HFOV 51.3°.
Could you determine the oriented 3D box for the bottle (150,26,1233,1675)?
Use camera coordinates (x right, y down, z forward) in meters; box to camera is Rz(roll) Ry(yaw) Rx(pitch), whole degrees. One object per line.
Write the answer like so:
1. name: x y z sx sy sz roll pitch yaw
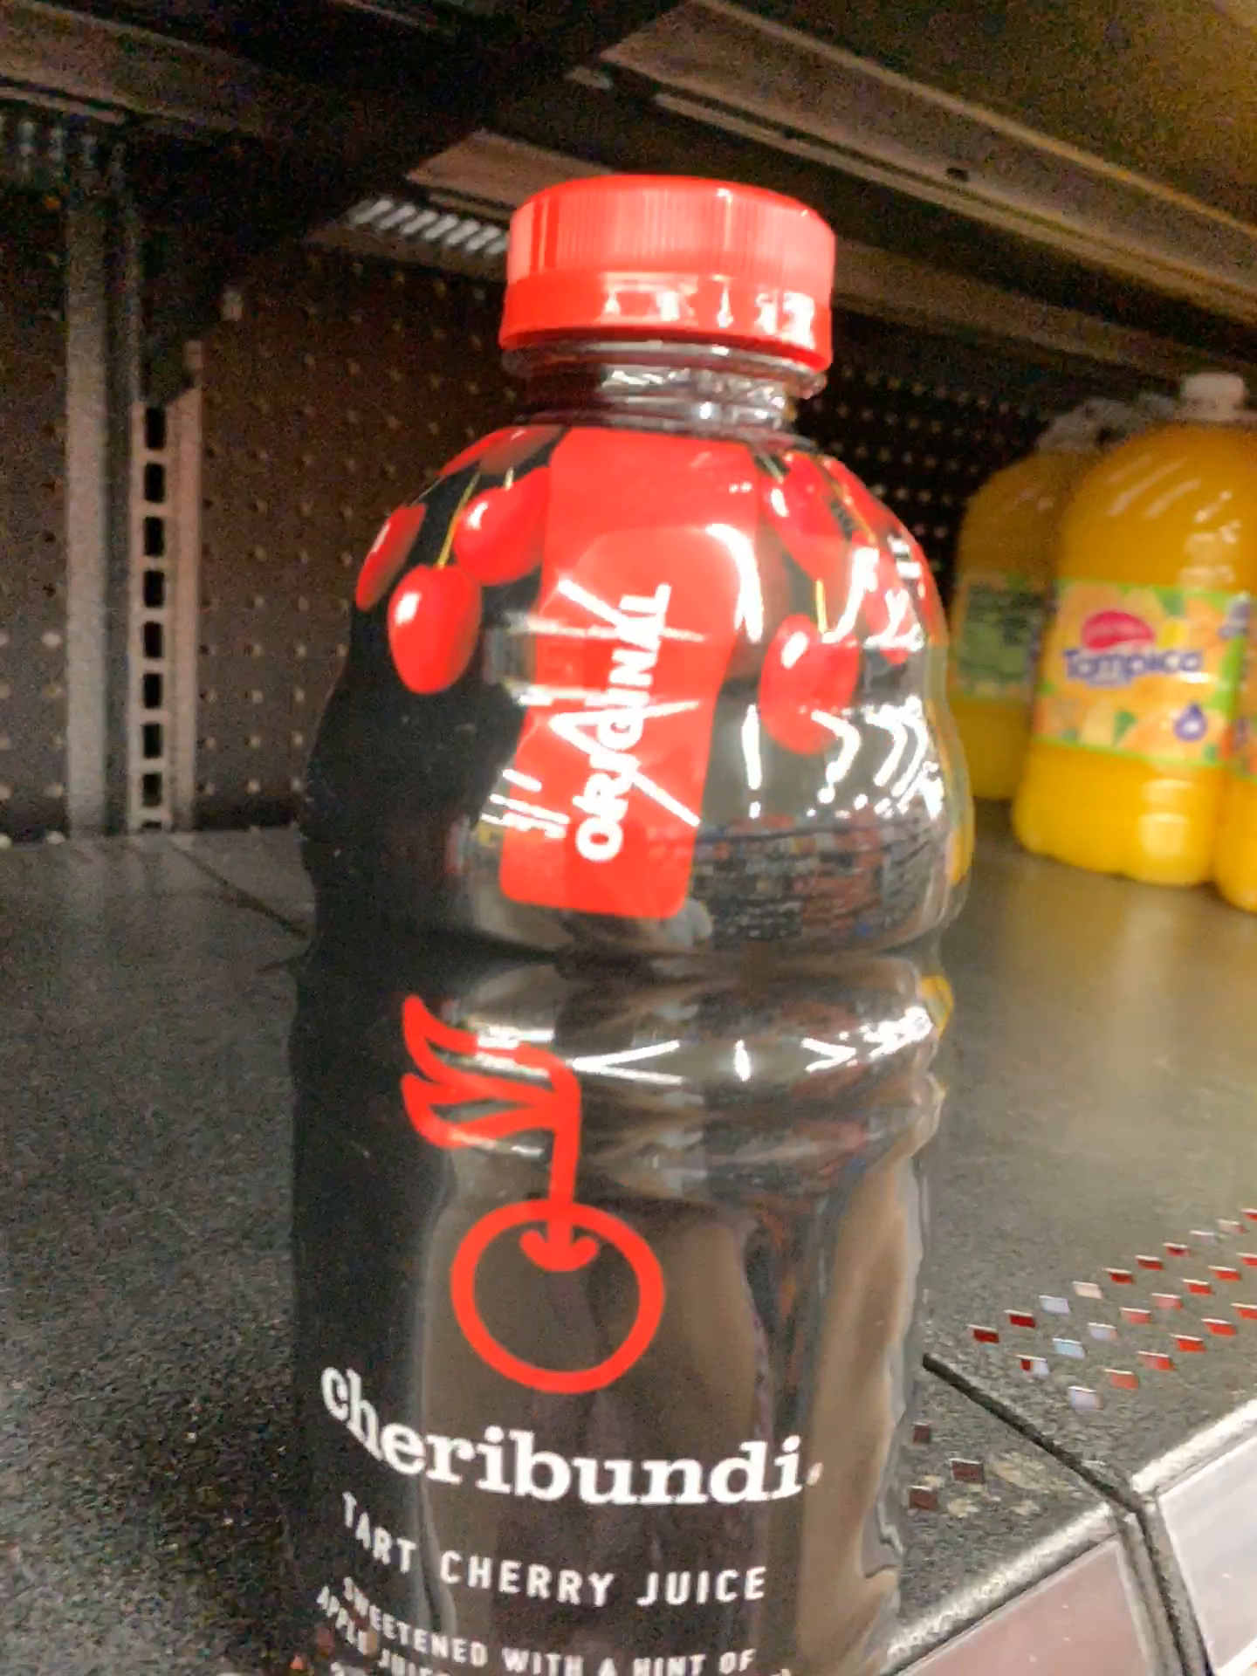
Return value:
1. bottle: 0.001 0.020 0.181 0.095 0.205 0.090 5 12 -1
